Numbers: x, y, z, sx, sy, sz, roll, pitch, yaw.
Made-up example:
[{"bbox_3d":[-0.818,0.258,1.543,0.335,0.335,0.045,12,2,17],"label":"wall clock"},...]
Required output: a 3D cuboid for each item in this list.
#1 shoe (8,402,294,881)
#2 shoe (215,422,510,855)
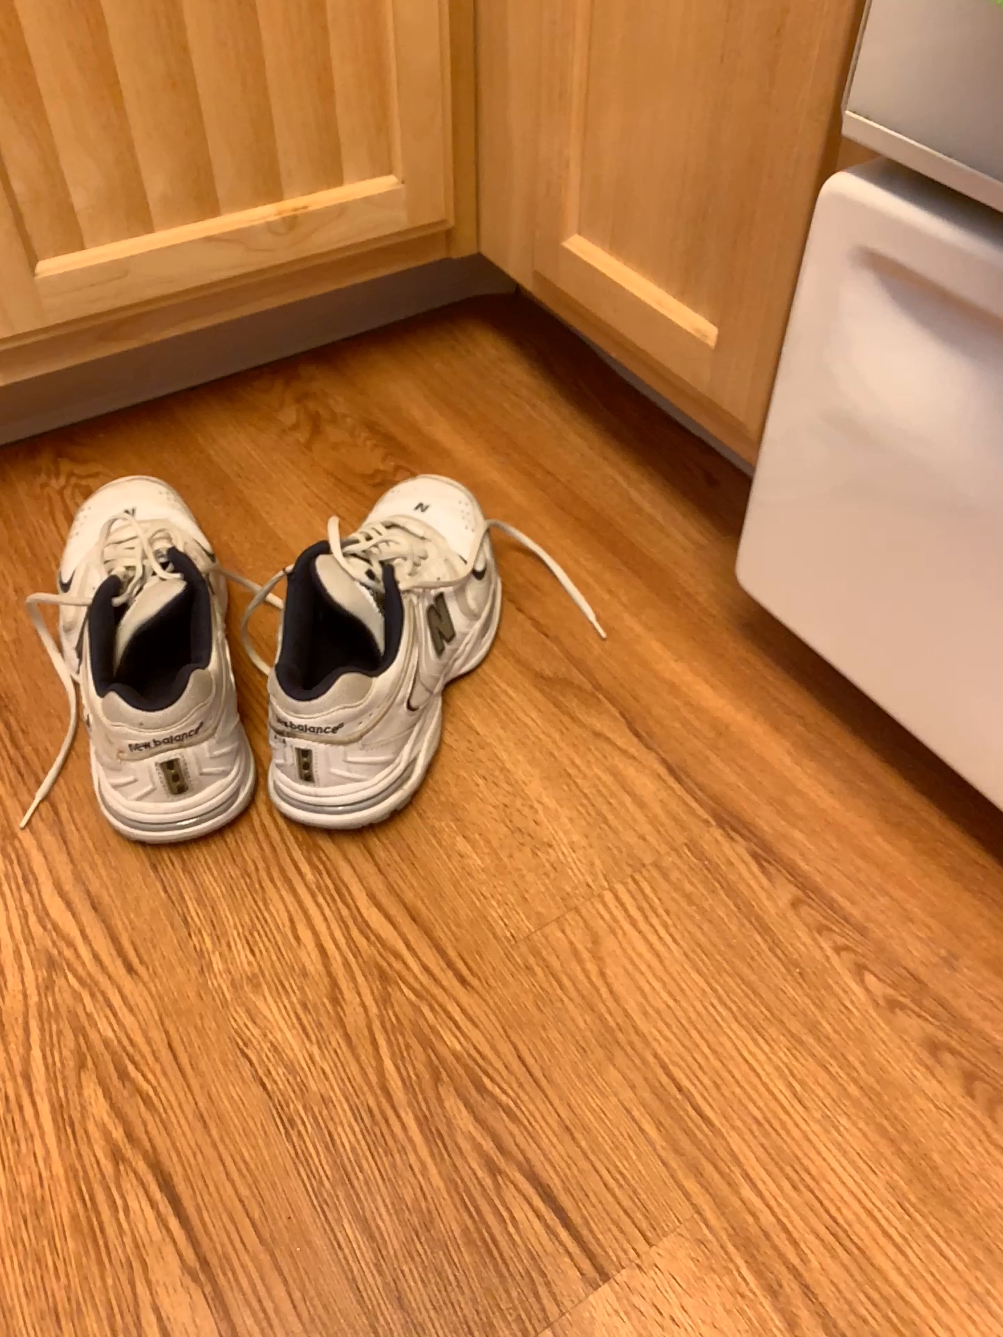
[{"bbox_3d":[-0.219,-0.031,0.632,0.110,0.109,0.281,-15,49,-14],"label":"shoe"},{"bbox_3d":[-0.076,-0.033,0.692,0.110,0.109,0.281,9,48,7],"label":"shoe"}]
